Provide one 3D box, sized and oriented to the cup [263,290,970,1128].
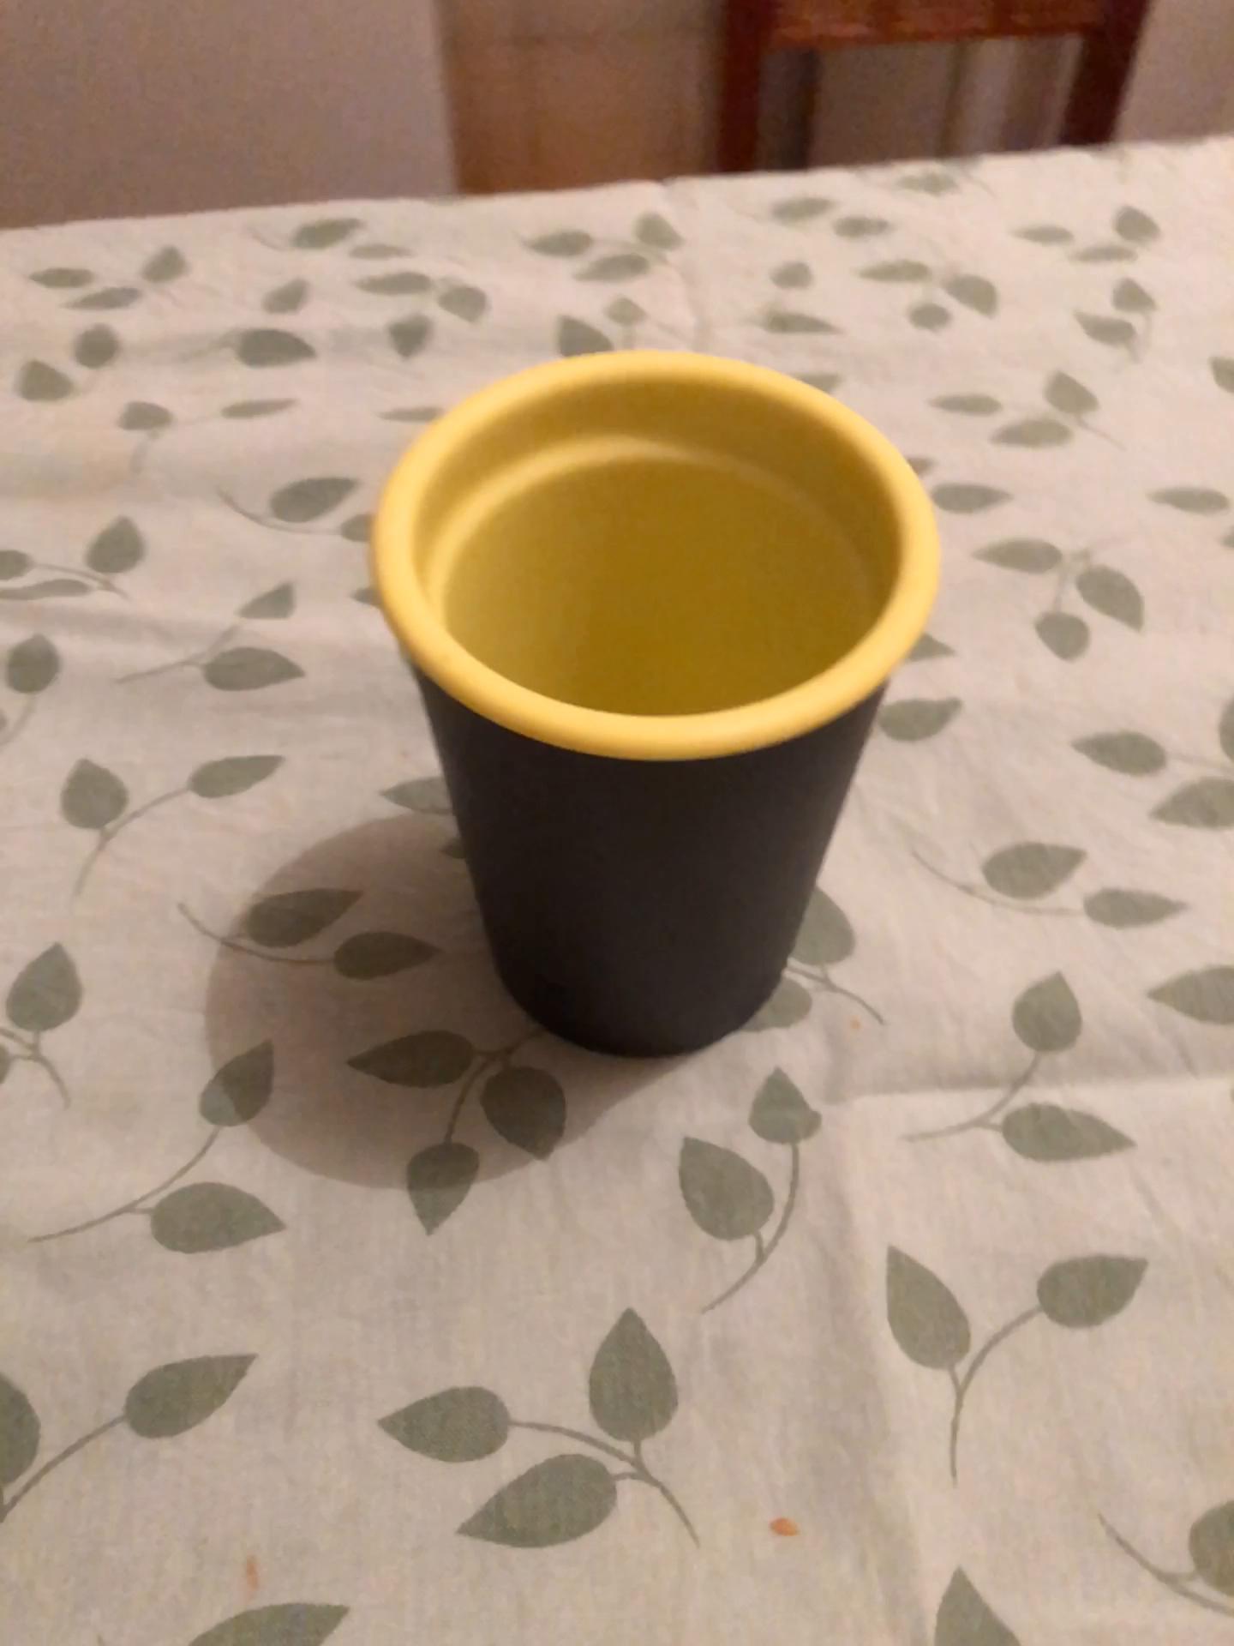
[{"bbox_3d":[0.005,-0.017,0.250,0.090,0.109,0.091,0,53,0],"label":"cup"}]
